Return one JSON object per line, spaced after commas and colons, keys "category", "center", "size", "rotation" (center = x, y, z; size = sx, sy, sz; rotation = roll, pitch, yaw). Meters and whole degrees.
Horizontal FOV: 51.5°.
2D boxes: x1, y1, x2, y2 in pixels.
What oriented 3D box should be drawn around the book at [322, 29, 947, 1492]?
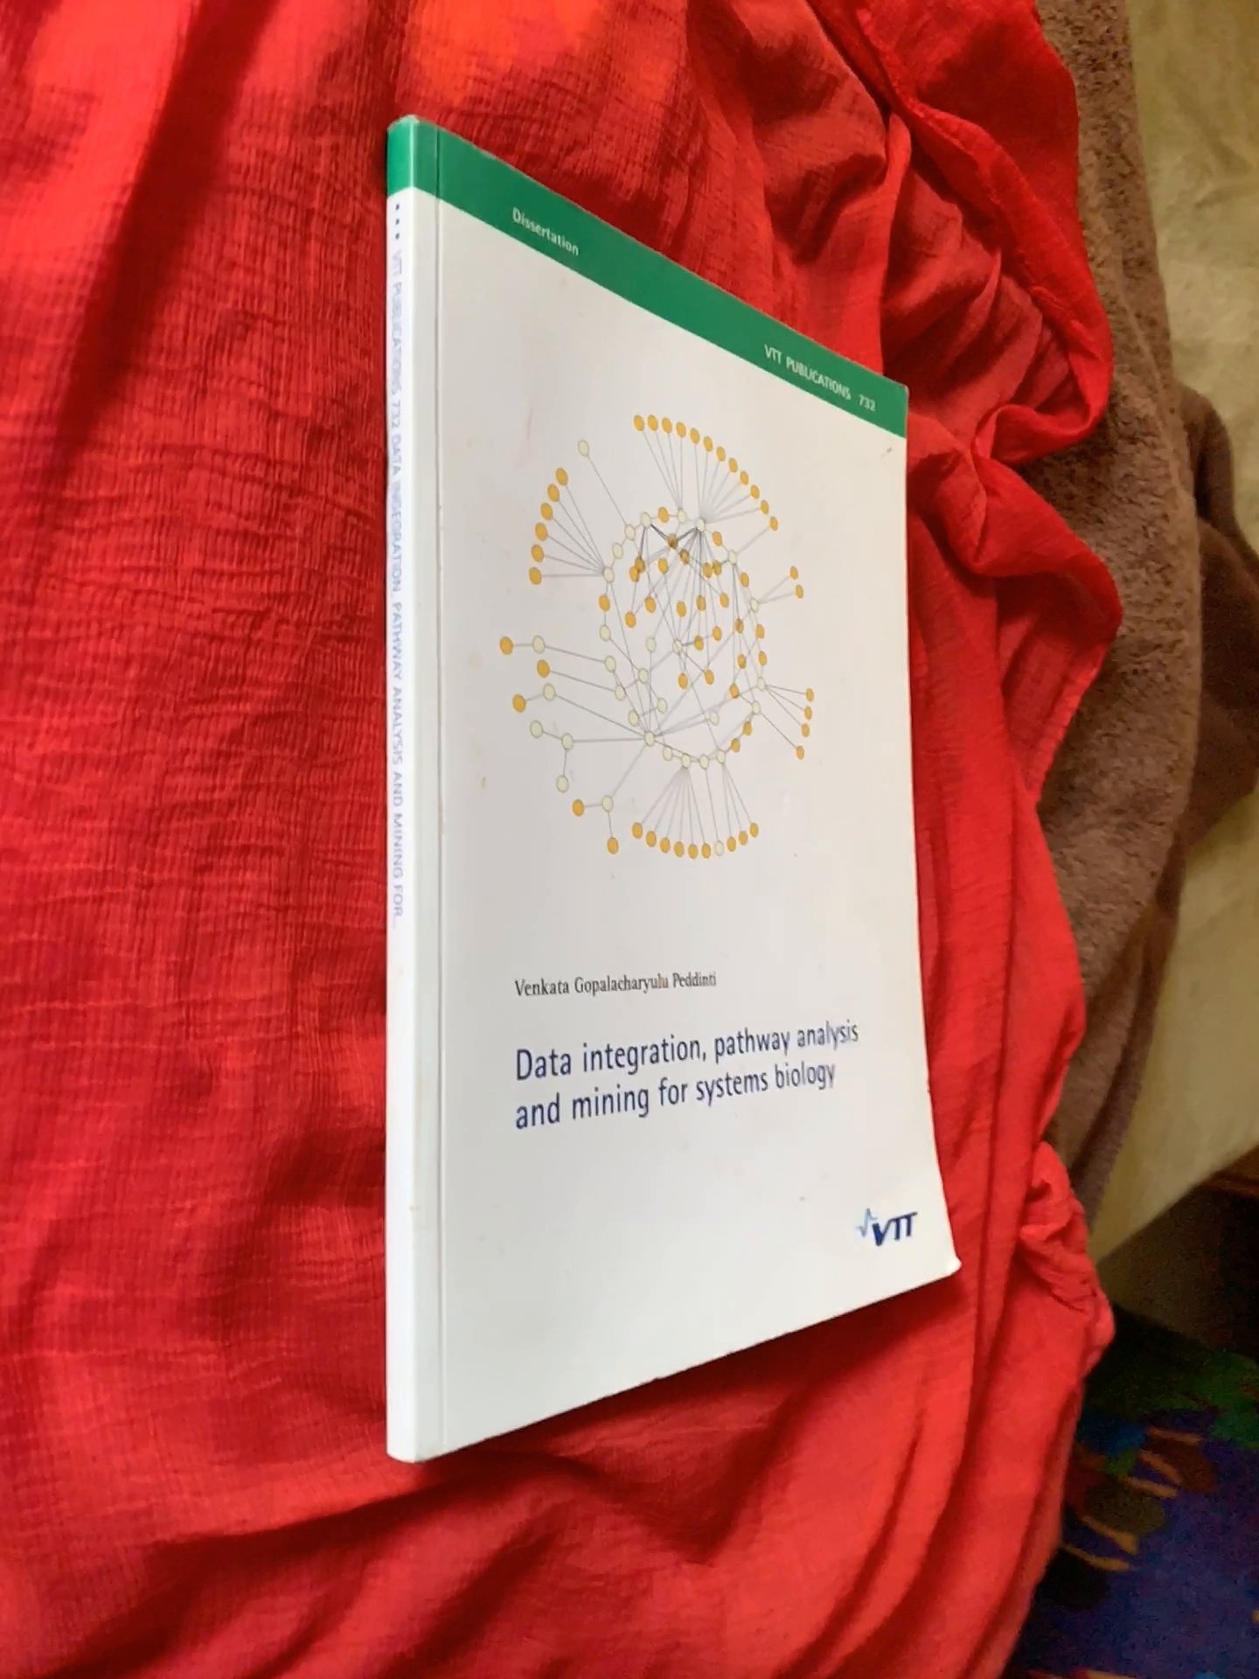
{"category": "book", "center": [0.013, -0.016, 0.309], "size": [0.181, 0.020, 0.270], "rotation": [5, 83, -45]}
